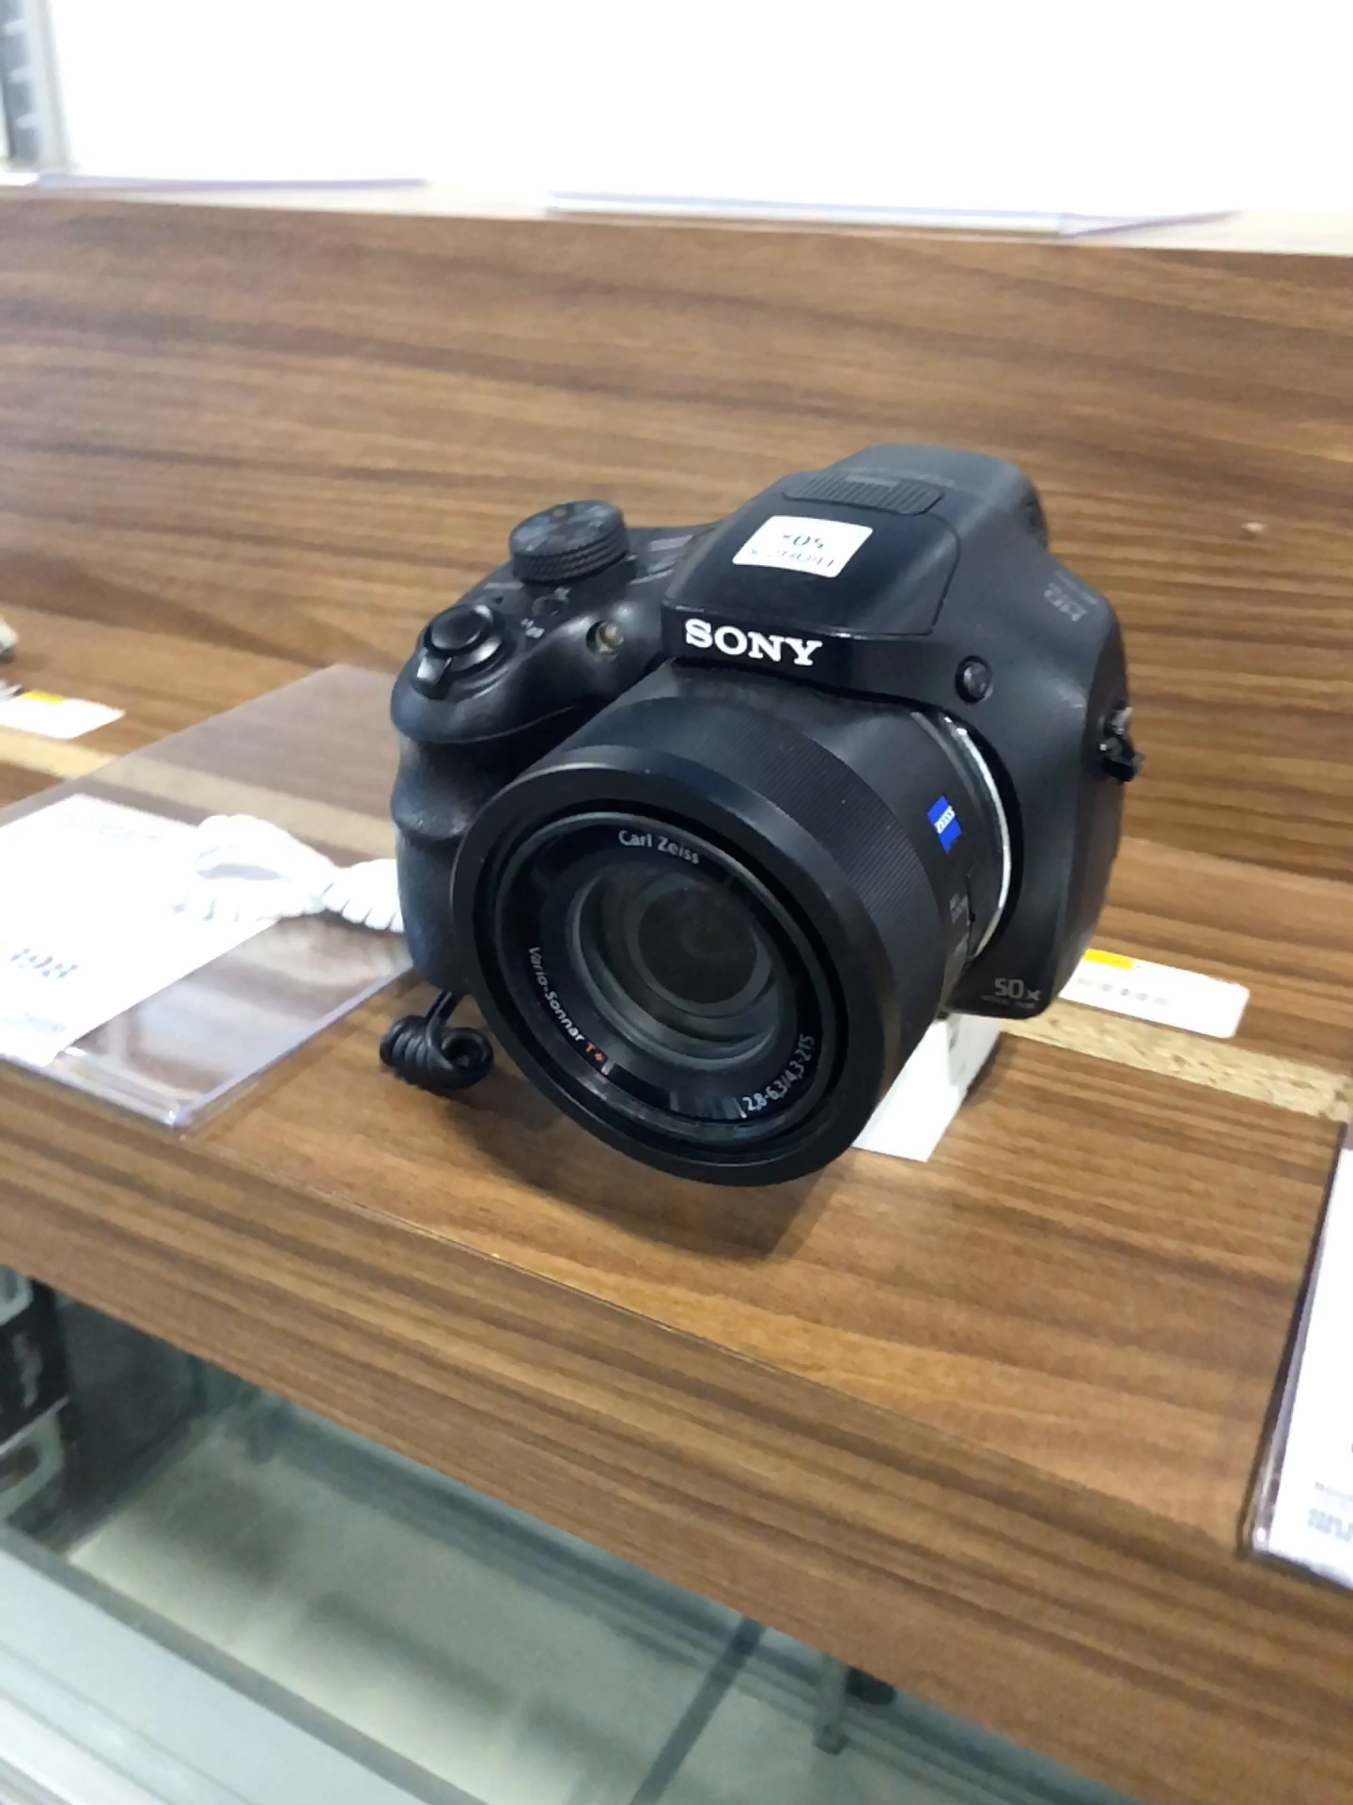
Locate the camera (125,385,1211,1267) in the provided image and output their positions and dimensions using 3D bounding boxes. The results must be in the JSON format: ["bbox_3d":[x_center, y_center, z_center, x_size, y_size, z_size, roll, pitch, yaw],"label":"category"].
[{"bbox_3d":[0.007,-0.031,0.261,0.130,0.089,0.131,13,29,23],"label":"camera"}]
